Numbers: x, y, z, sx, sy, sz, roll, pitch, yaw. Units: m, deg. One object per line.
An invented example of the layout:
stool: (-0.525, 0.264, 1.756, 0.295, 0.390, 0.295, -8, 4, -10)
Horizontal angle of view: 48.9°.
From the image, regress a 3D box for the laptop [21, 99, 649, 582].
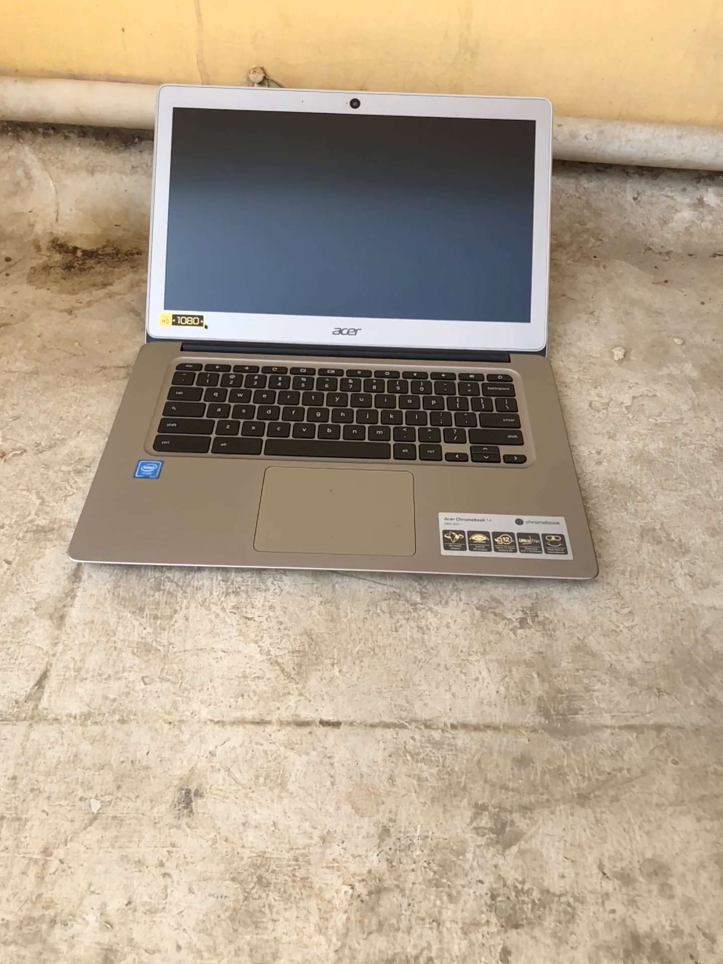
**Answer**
laptop: (-0.014, -0.127, 0.578, 0.315, 0.136, 0.381, 1, 47, -1)
